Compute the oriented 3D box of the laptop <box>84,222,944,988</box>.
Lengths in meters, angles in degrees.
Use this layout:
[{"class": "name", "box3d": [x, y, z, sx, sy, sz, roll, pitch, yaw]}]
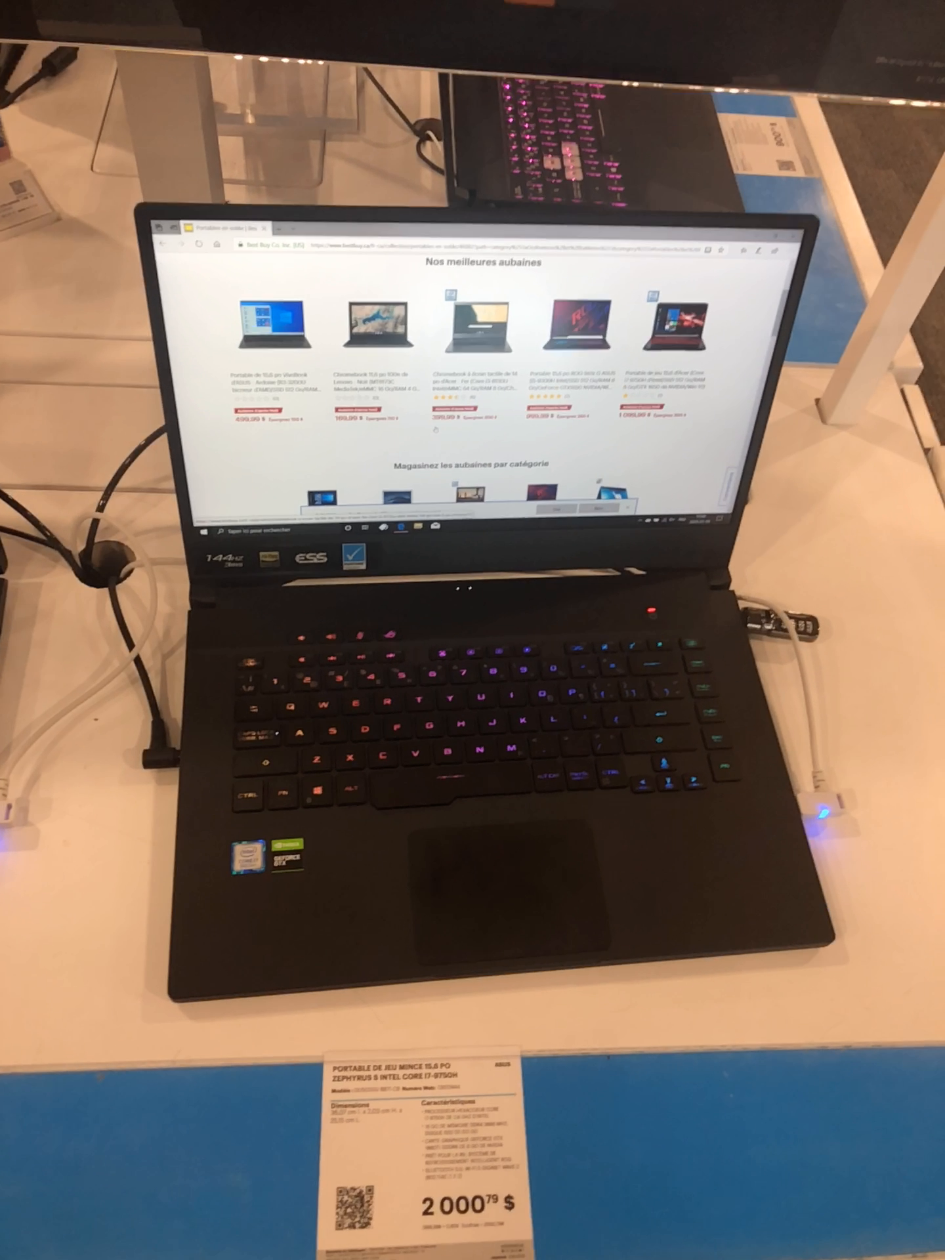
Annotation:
[{"class": "laptop", "box3d": [0.020, -0.017, 0.527, 0.340, 0.207, 0.315, -1, 57, -6]}]
